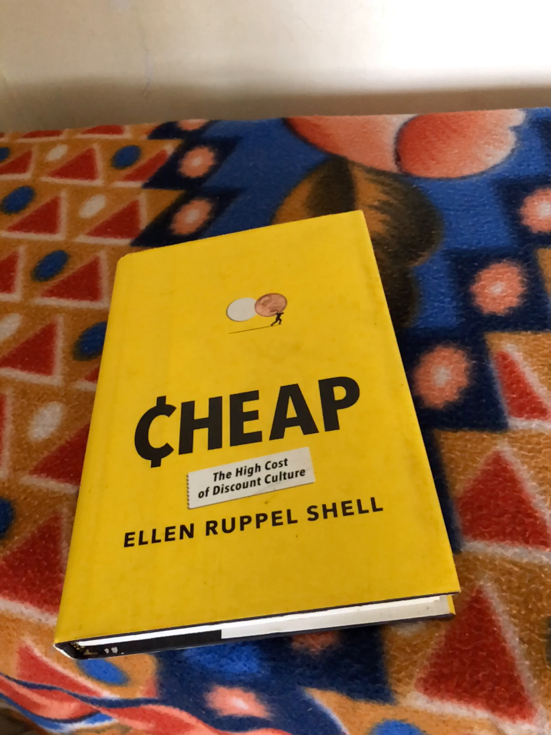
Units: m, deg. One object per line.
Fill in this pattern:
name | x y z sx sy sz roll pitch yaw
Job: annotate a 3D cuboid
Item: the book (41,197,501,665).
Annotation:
book | -0.010 0.009 0.314 0.170 0.030 0.241 -9 49 4
